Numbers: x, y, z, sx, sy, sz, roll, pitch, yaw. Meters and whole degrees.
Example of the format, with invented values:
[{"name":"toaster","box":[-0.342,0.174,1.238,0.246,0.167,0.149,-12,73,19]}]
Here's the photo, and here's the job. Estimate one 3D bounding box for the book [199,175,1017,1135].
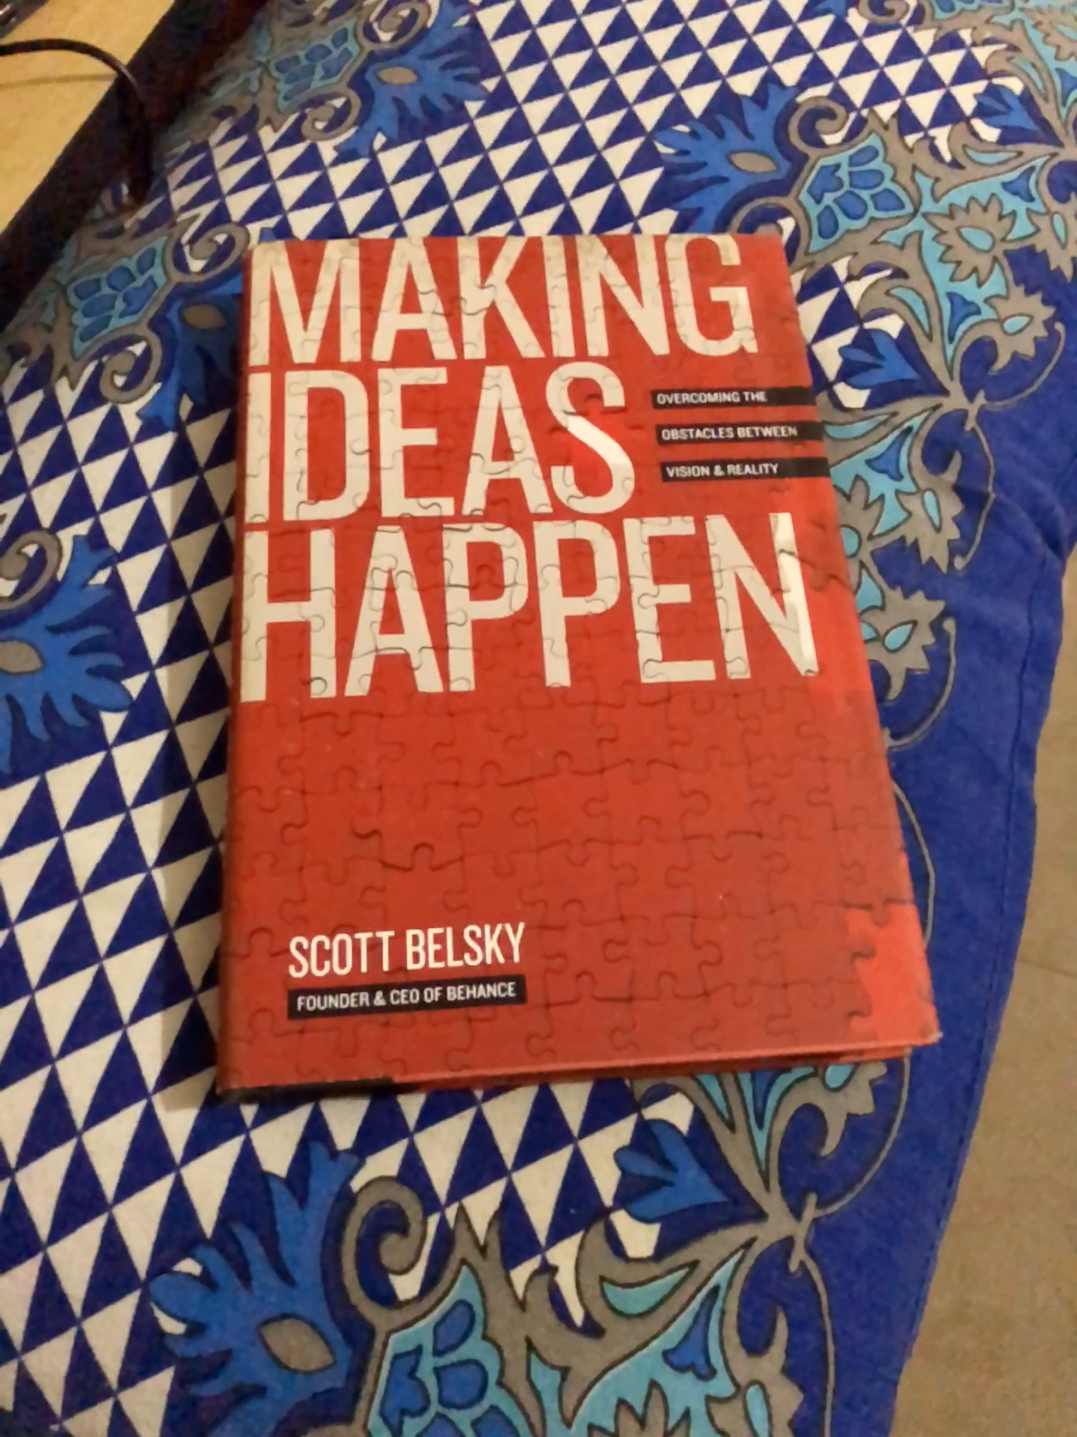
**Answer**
[{"name":"book","box":[0.005,-0.035,0.300,0.160,0.030,0.250,-3,64,-4]}]
